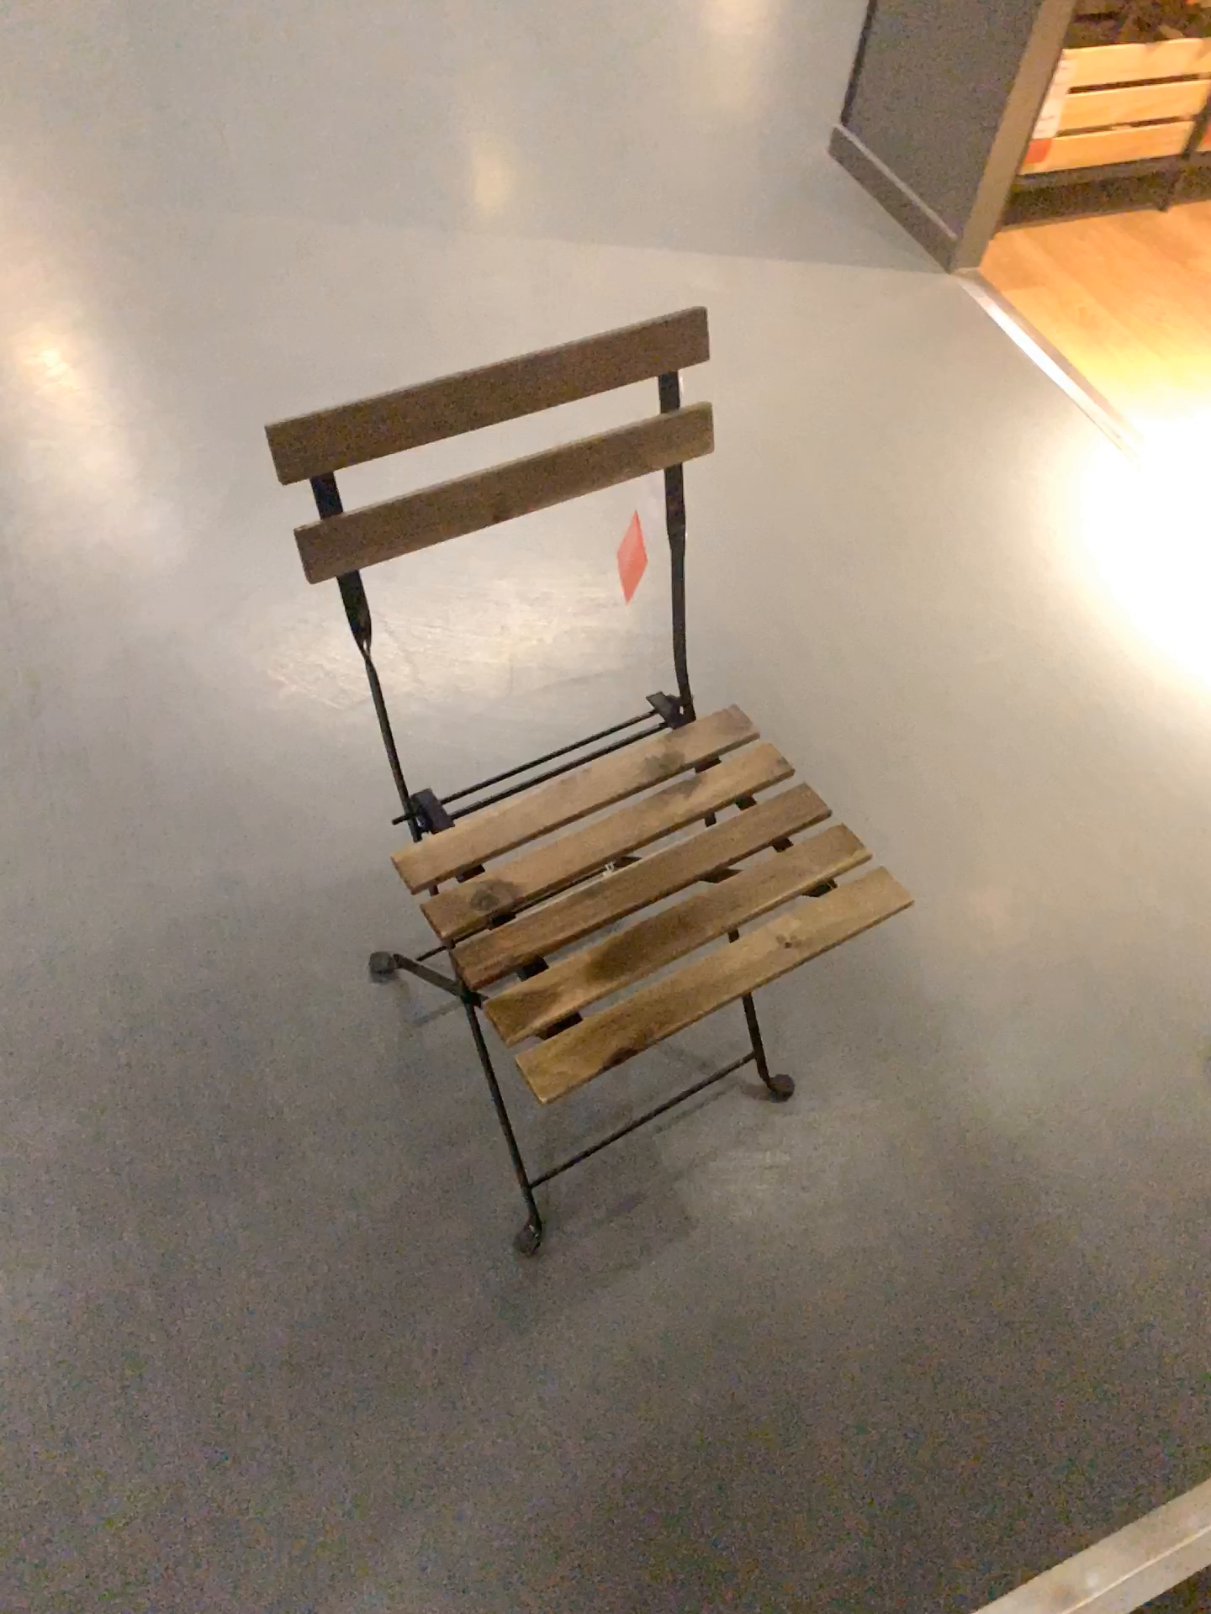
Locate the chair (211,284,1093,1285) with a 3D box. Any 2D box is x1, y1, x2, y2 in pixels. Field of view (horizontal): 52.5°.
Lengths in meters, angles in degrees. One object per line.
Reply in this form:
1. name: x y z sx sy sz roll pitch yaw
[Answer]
1. chair: -0.011 0.014 1.142 0.420 0.698 0.501 -24 59 -21
